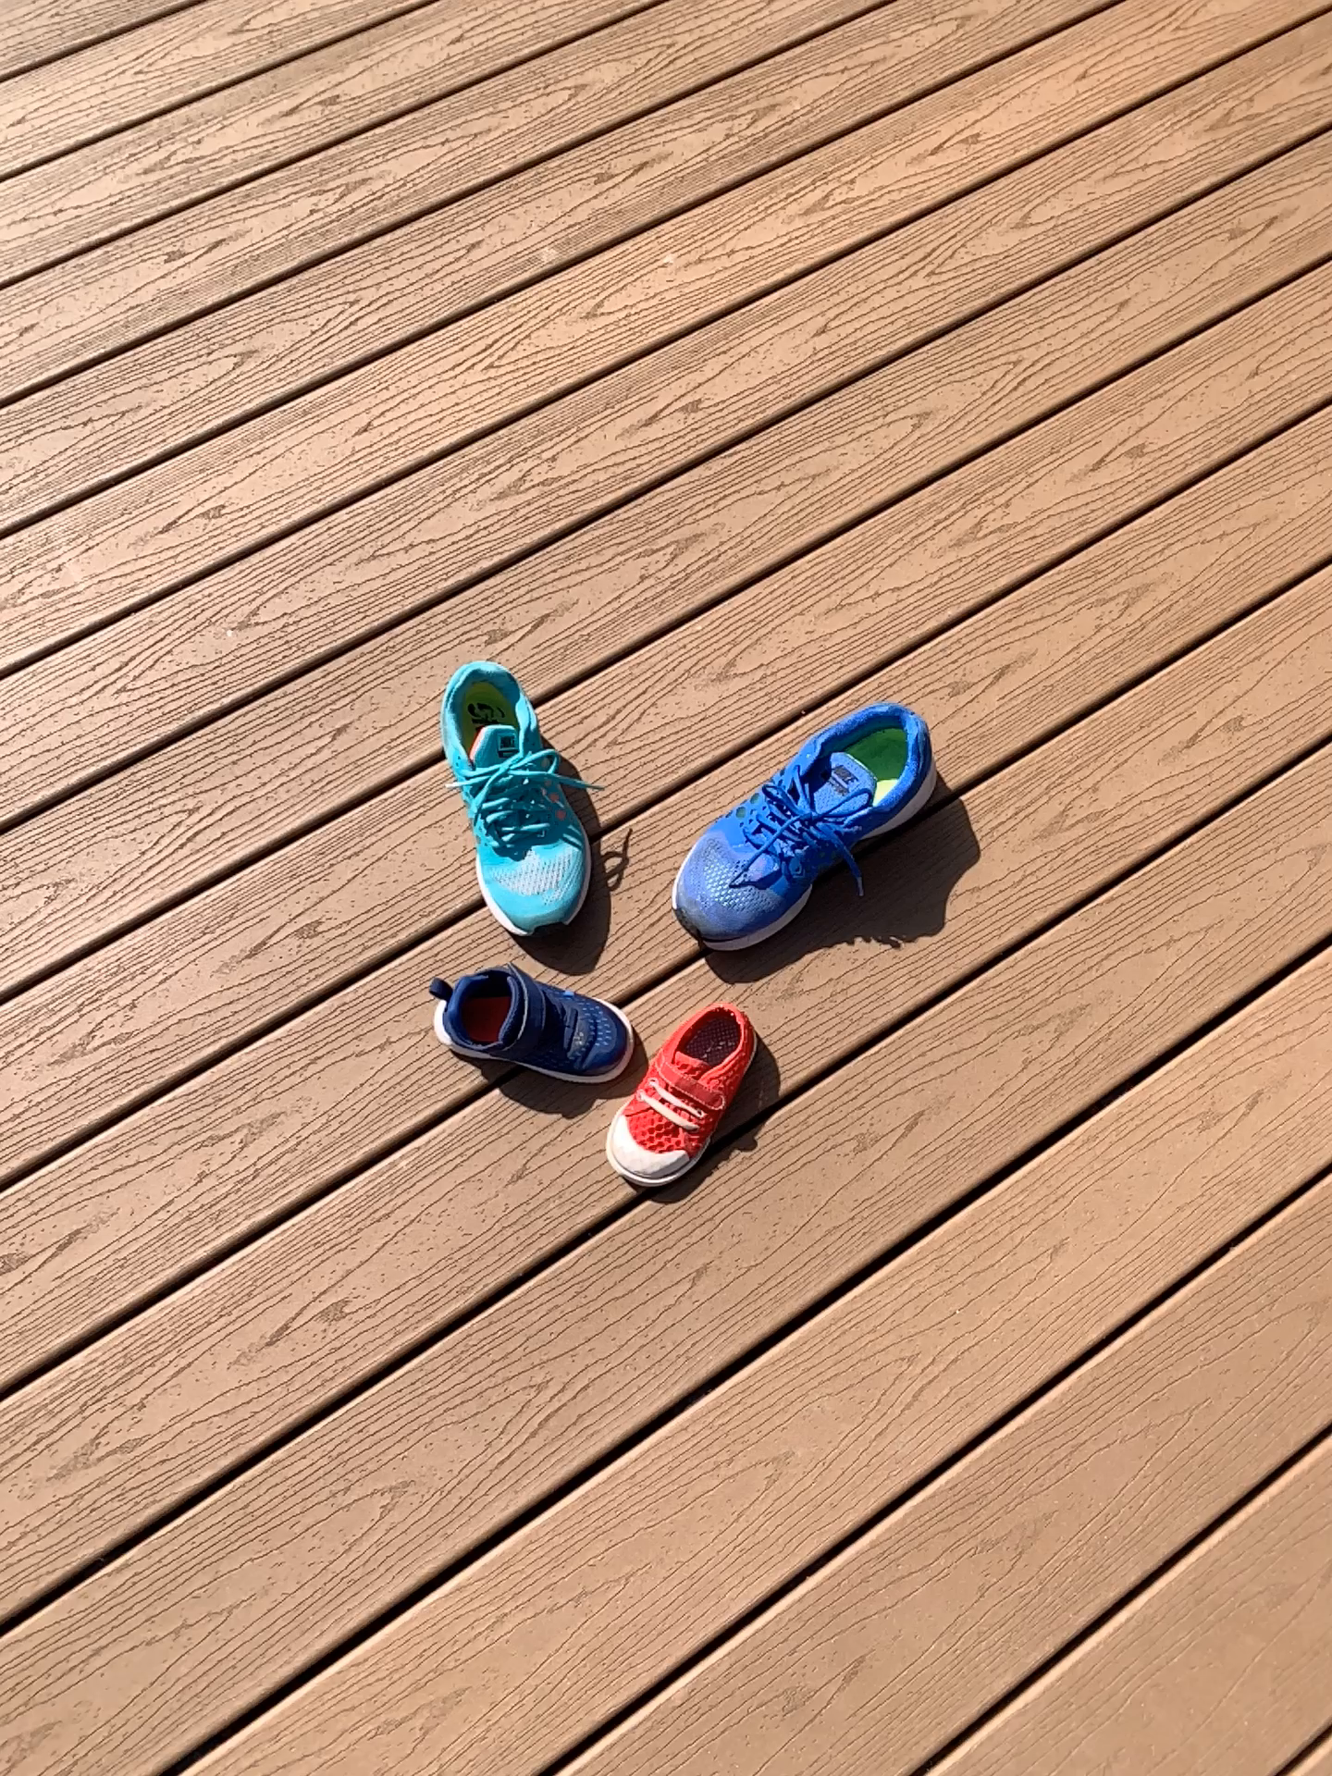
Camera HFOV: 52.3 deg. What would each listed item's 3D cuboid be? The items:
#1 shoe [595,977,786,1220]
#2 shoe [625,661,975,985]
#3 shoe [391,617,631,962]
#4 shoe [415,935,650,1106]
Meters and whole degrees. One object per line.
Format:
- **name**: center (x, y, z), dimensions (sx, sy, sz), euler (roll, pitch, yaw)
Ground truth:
- **shoe**: center (0.020, 0.171, 1.106), dimensions (0.080, 0.060, 0.170), euler (28, 69, 10)
- **shoe**: center (0.116, -0.059, 1.193), dimensions (0.290, 0.090, 0.120), euler (-36, 73, -16)
- **shoe**: center (-0.137, -0.089, 1.196), dimensions (0.120, 0.090, 0.270), euler (-20, 69, -10)
- **shoe**: center (-0.107, 0.109, 1.113), dimensions (0.170, 0.070, 0.090), euler (12, 67, 3)
